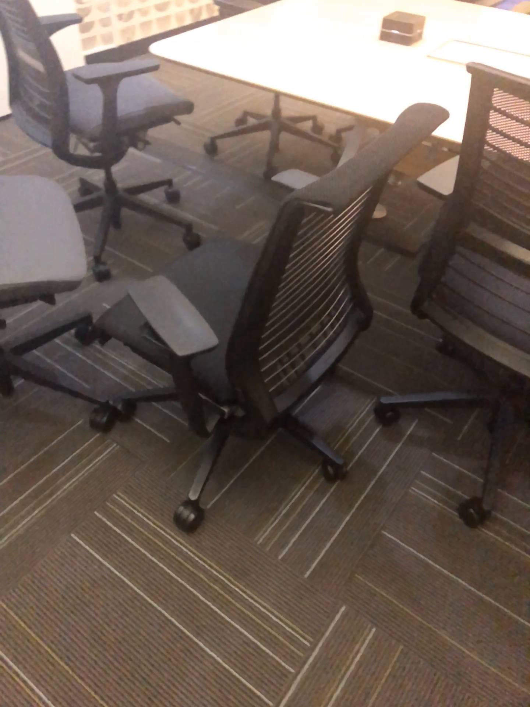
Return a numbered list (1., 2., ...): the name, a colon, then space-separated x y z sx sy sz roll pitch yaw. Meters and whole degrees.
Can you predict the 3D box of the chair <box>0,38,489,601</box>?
1. chair: -0.049 -0.117 1.460 0.731 0.991 0.725 25 46 26
